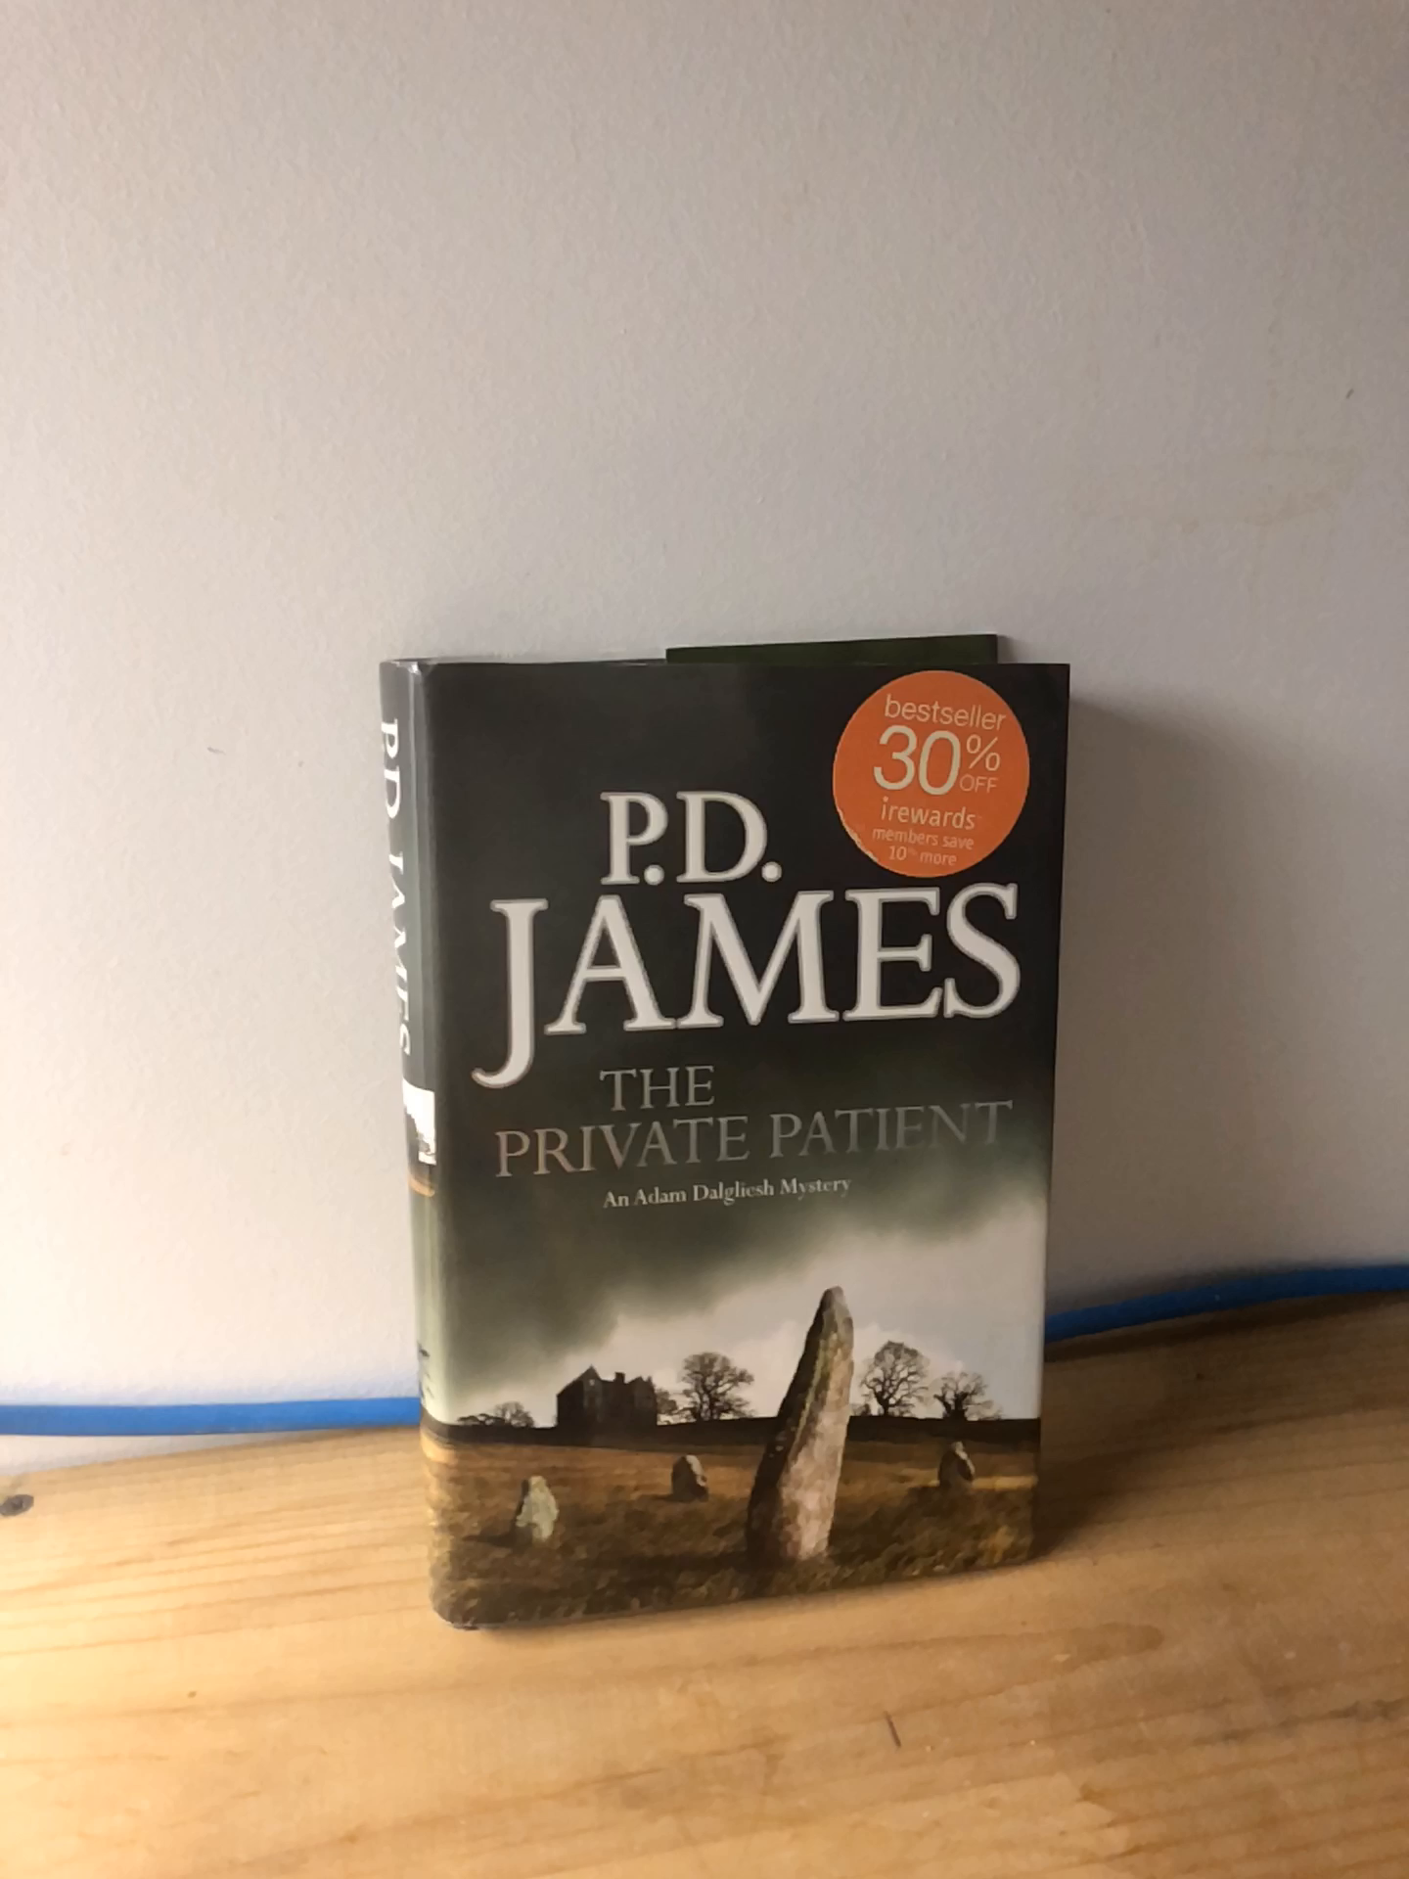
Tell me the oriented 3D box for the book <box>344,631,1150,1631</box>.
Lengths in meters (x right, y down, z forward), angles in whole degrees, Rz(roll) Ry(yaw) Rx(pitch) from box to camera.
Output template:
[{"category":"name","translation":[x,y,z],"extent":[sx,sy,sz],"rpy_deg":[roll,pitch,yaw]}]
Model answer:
[{"category":"book","translation":[0.012,0.044,0.380],"extent":[0.180,0.229,0.040],"rpy_deg":[-2,9,-6]}]
